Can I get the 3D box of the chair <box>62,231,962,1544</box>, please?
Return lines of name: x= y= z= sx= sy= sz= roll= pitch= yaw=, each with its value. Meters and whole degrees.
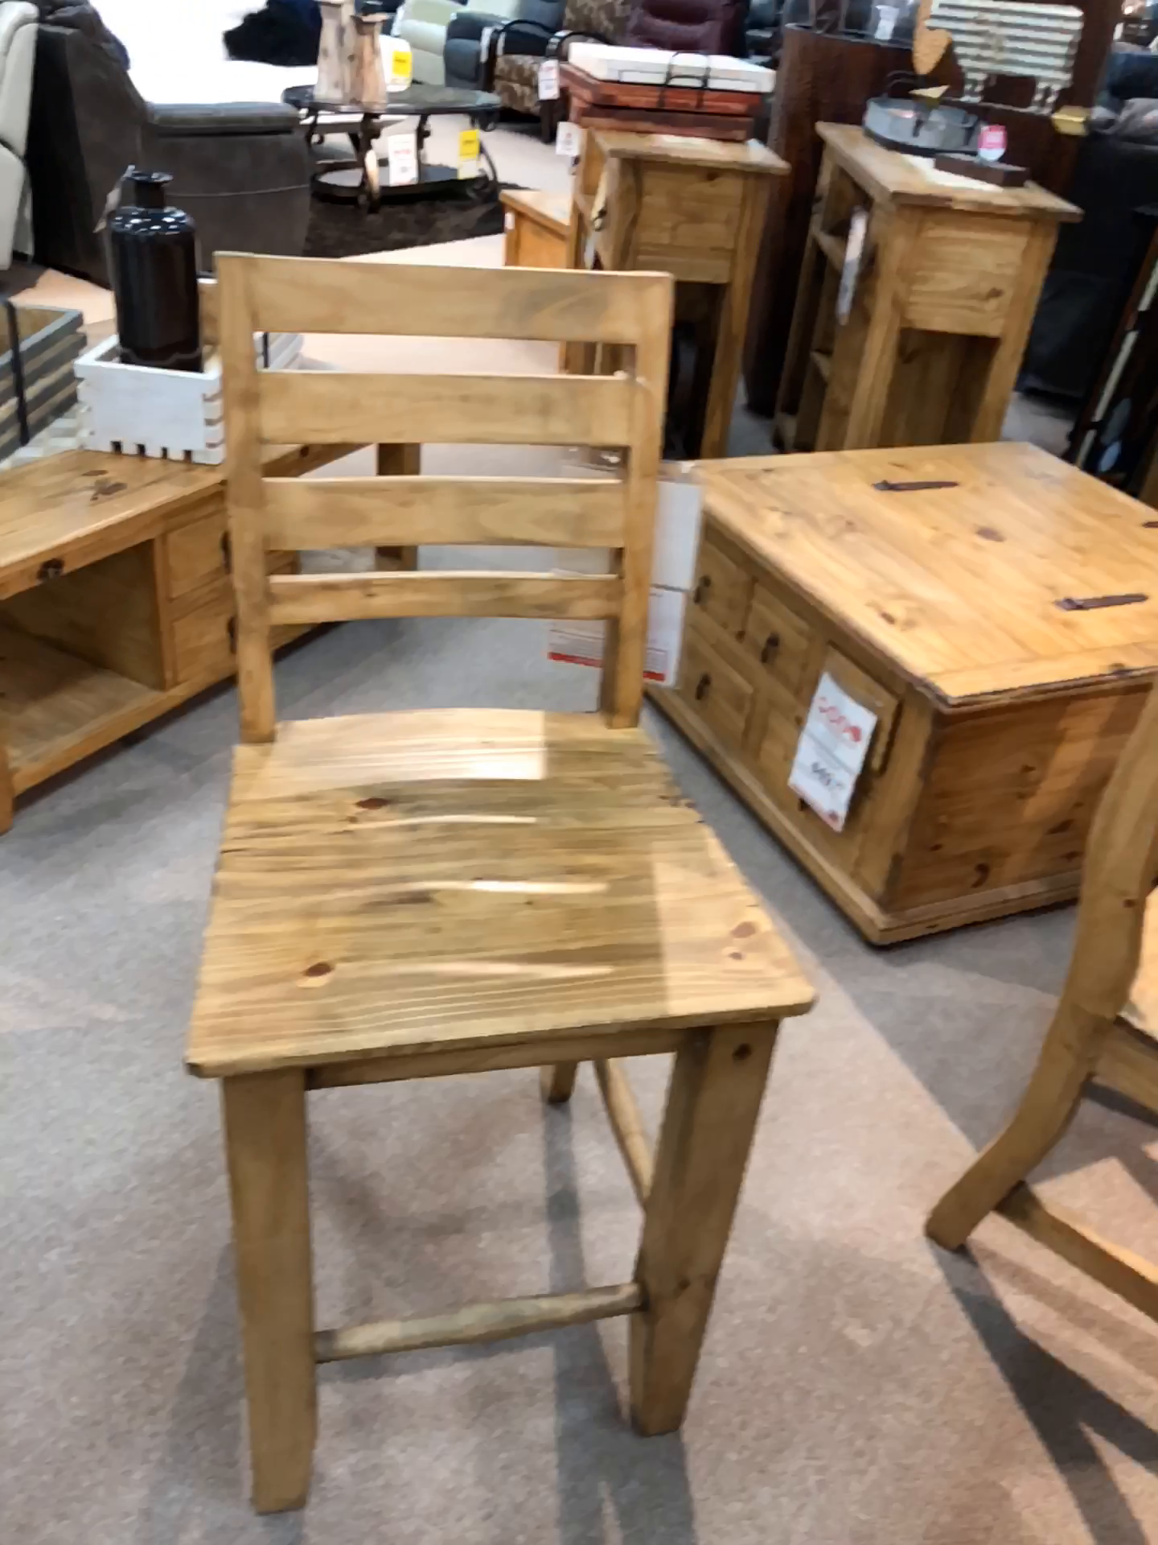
chair: x=-0.116 y=0.120 z=1.138 sx=0.470 sy=1.013 sz=0.524 roll=-3 pitch=35 yaw=-14
